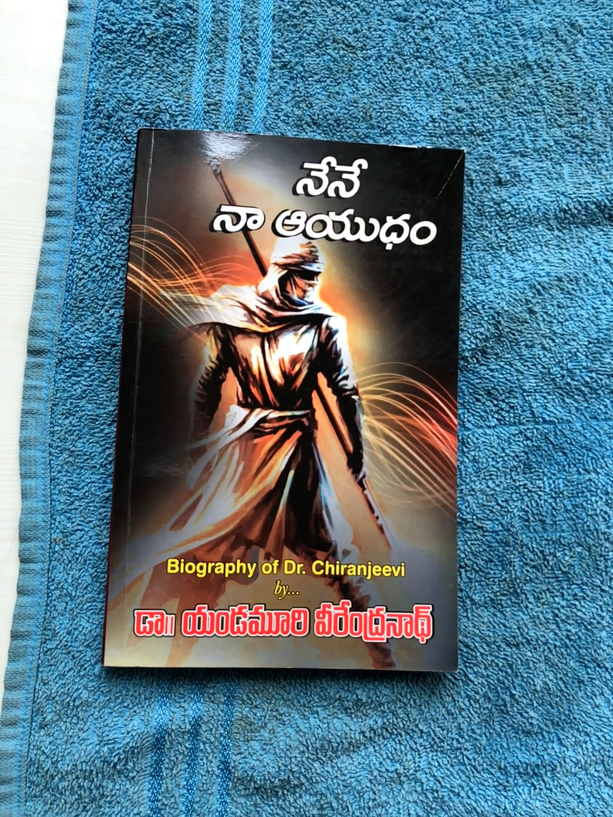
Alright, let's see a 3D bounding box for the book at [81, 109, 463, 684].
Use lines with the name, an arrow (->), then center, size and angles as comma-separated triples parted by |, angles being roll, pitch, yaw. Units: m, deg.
book -> -0.010, -0.005, 0.283 | 0.140, 0.030, 0.220 | 3, 83, -6
